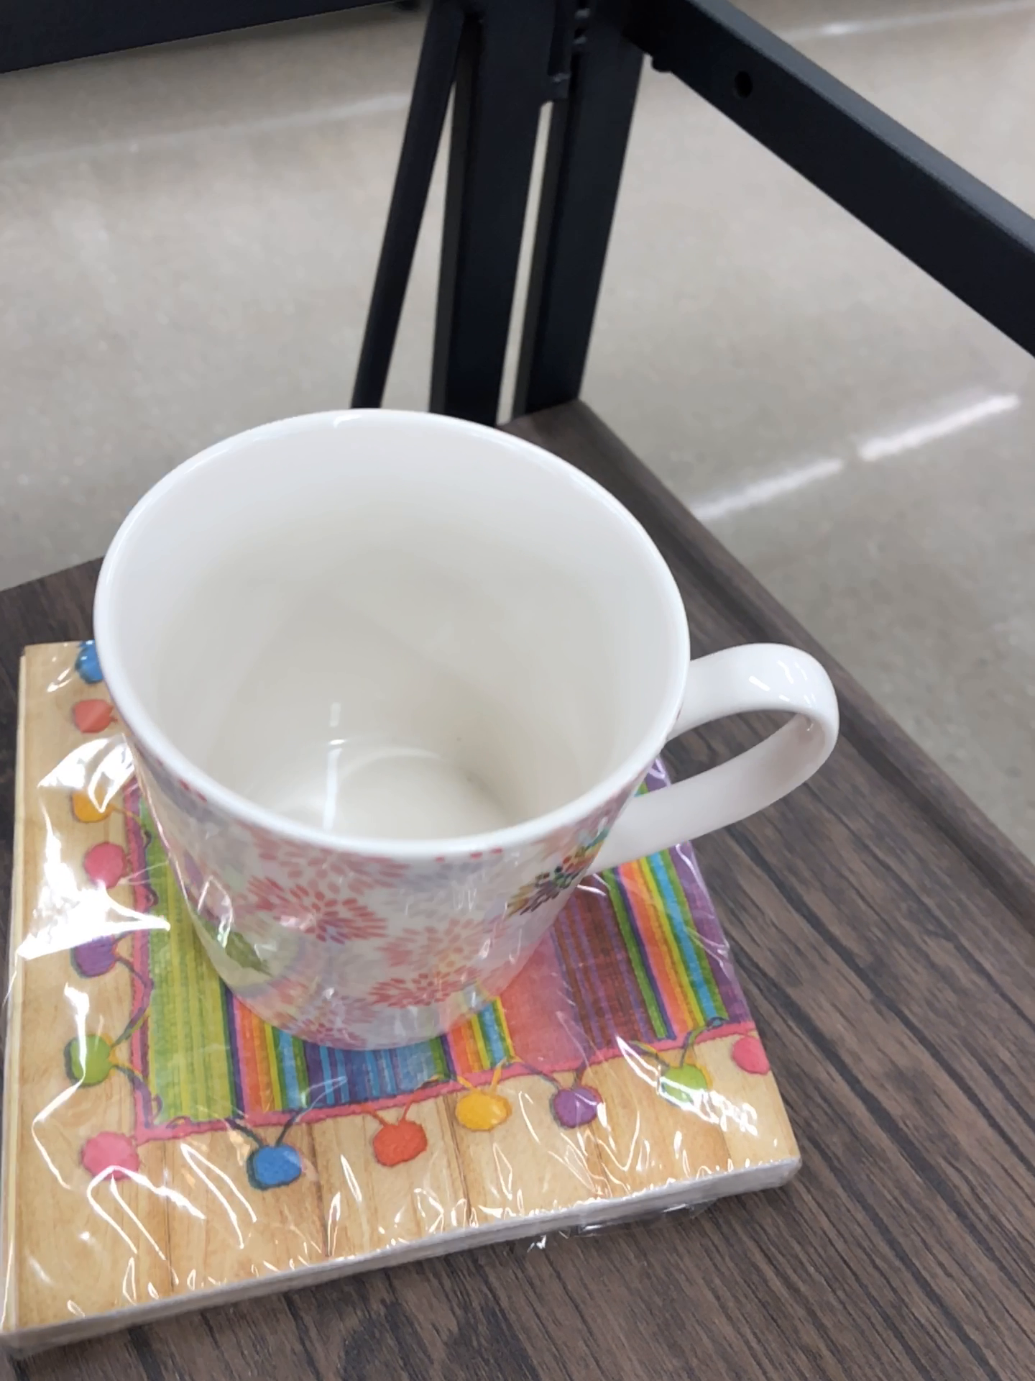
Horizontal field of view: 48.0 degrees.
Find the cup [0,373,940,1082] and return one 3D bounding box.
[{"bbox_3d":[-0.015,0.008,0.240,0.140,0.100,0.100,-2,54,-10],"label":"cup"}]
